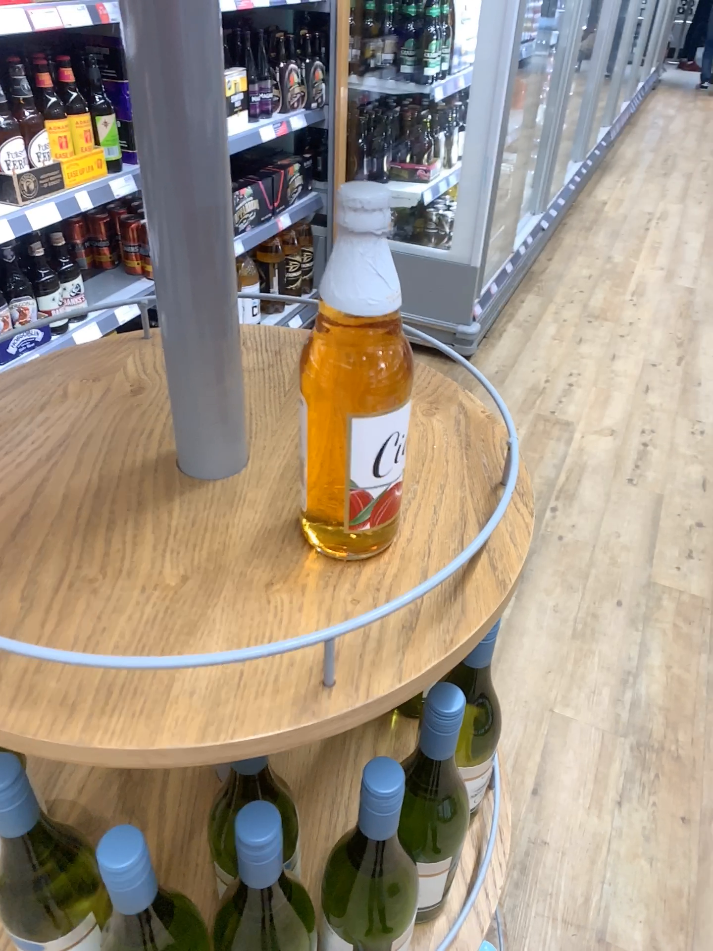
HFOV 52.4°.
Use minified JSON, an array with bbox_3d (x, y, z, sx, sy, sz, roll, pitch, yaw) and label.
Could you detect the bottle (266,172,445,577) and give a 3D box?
[{"bbox_3d":[-0.004,-0.052,0.427,0.070,0.218,0.070,2,36,-2],"label":"bottle"}]
